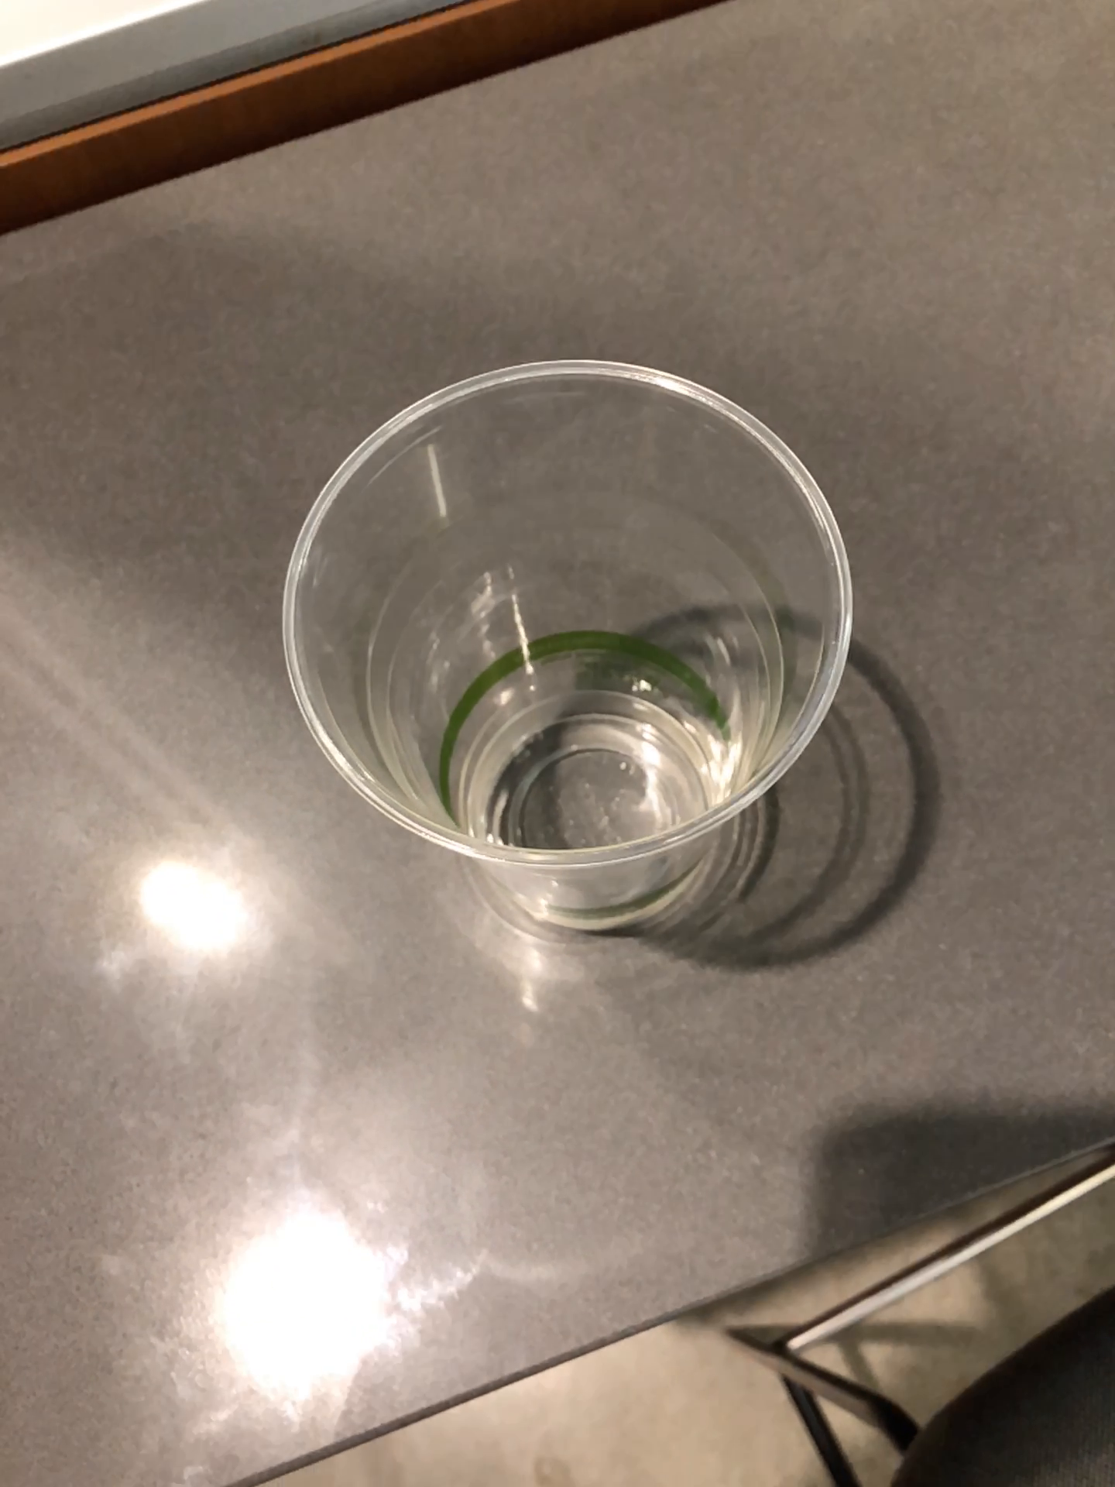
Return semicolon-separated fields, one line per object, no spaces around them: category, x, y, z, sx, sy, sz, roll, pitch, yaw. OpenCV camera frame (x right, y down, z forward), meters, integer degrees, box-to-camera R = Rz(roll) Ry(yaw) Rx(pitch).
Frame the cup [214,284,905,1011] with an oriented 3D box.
cup;0.008;-0.013;0.263;0.100;0.110;0.100;-2;67;4
